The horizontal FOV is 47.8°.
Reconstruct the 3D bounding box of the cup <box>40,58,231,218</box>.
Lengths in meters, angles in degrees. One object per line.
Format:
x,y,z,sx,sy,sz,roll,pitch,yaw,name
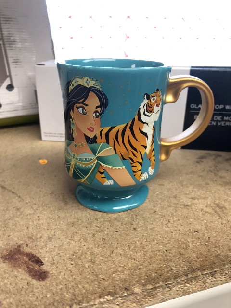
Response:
0.017,-0.023,0.245,0.140,0.120,0.099,-2,23,-4,cup
